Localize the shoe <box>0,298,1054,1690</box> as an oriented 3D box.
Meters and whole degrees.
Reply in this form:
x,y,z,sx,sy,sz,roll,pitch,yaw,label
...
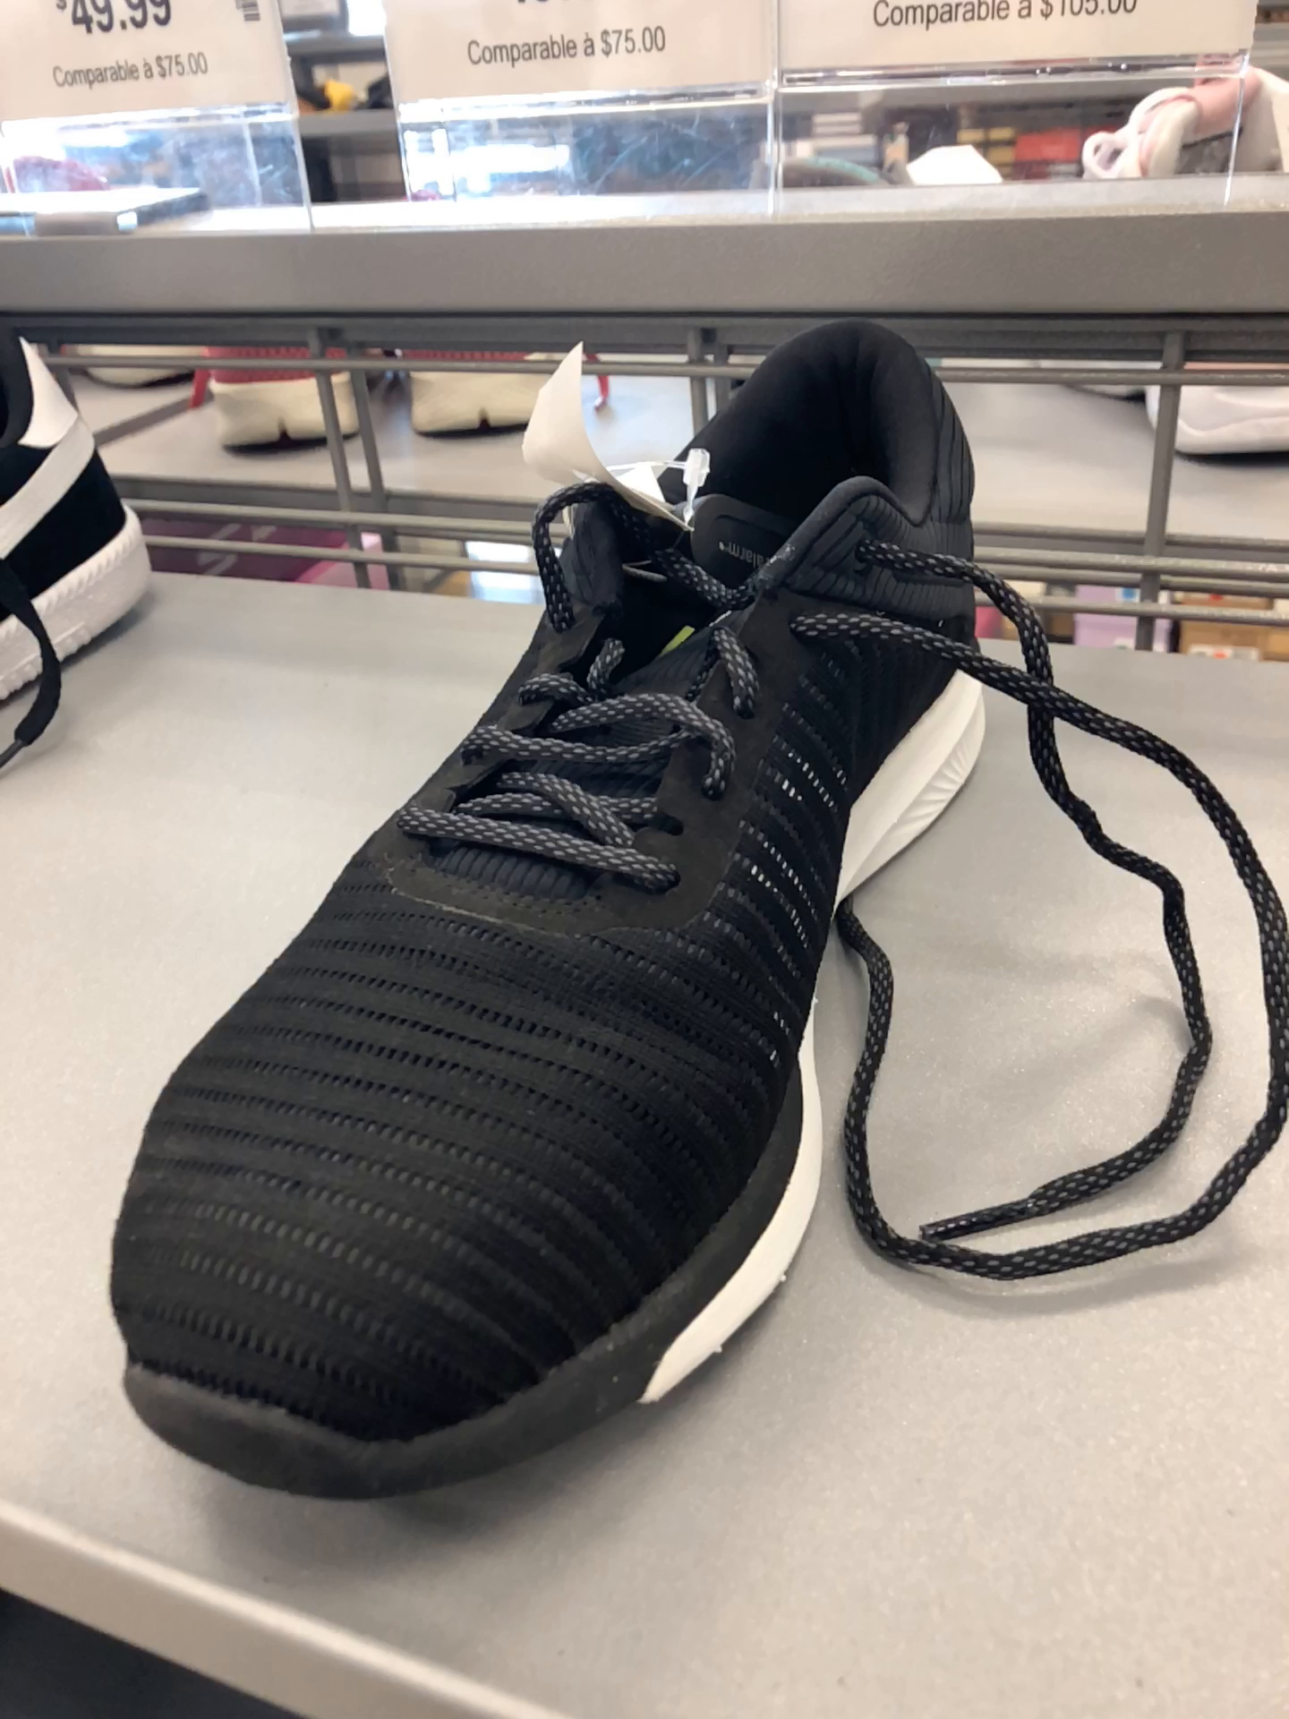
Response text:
x,y,z,sx,sy,sz,roll,pitch,yaw,label
-0.002,-0.024,0.301,0.120,0.119,0.302,8,34,21,shoe
